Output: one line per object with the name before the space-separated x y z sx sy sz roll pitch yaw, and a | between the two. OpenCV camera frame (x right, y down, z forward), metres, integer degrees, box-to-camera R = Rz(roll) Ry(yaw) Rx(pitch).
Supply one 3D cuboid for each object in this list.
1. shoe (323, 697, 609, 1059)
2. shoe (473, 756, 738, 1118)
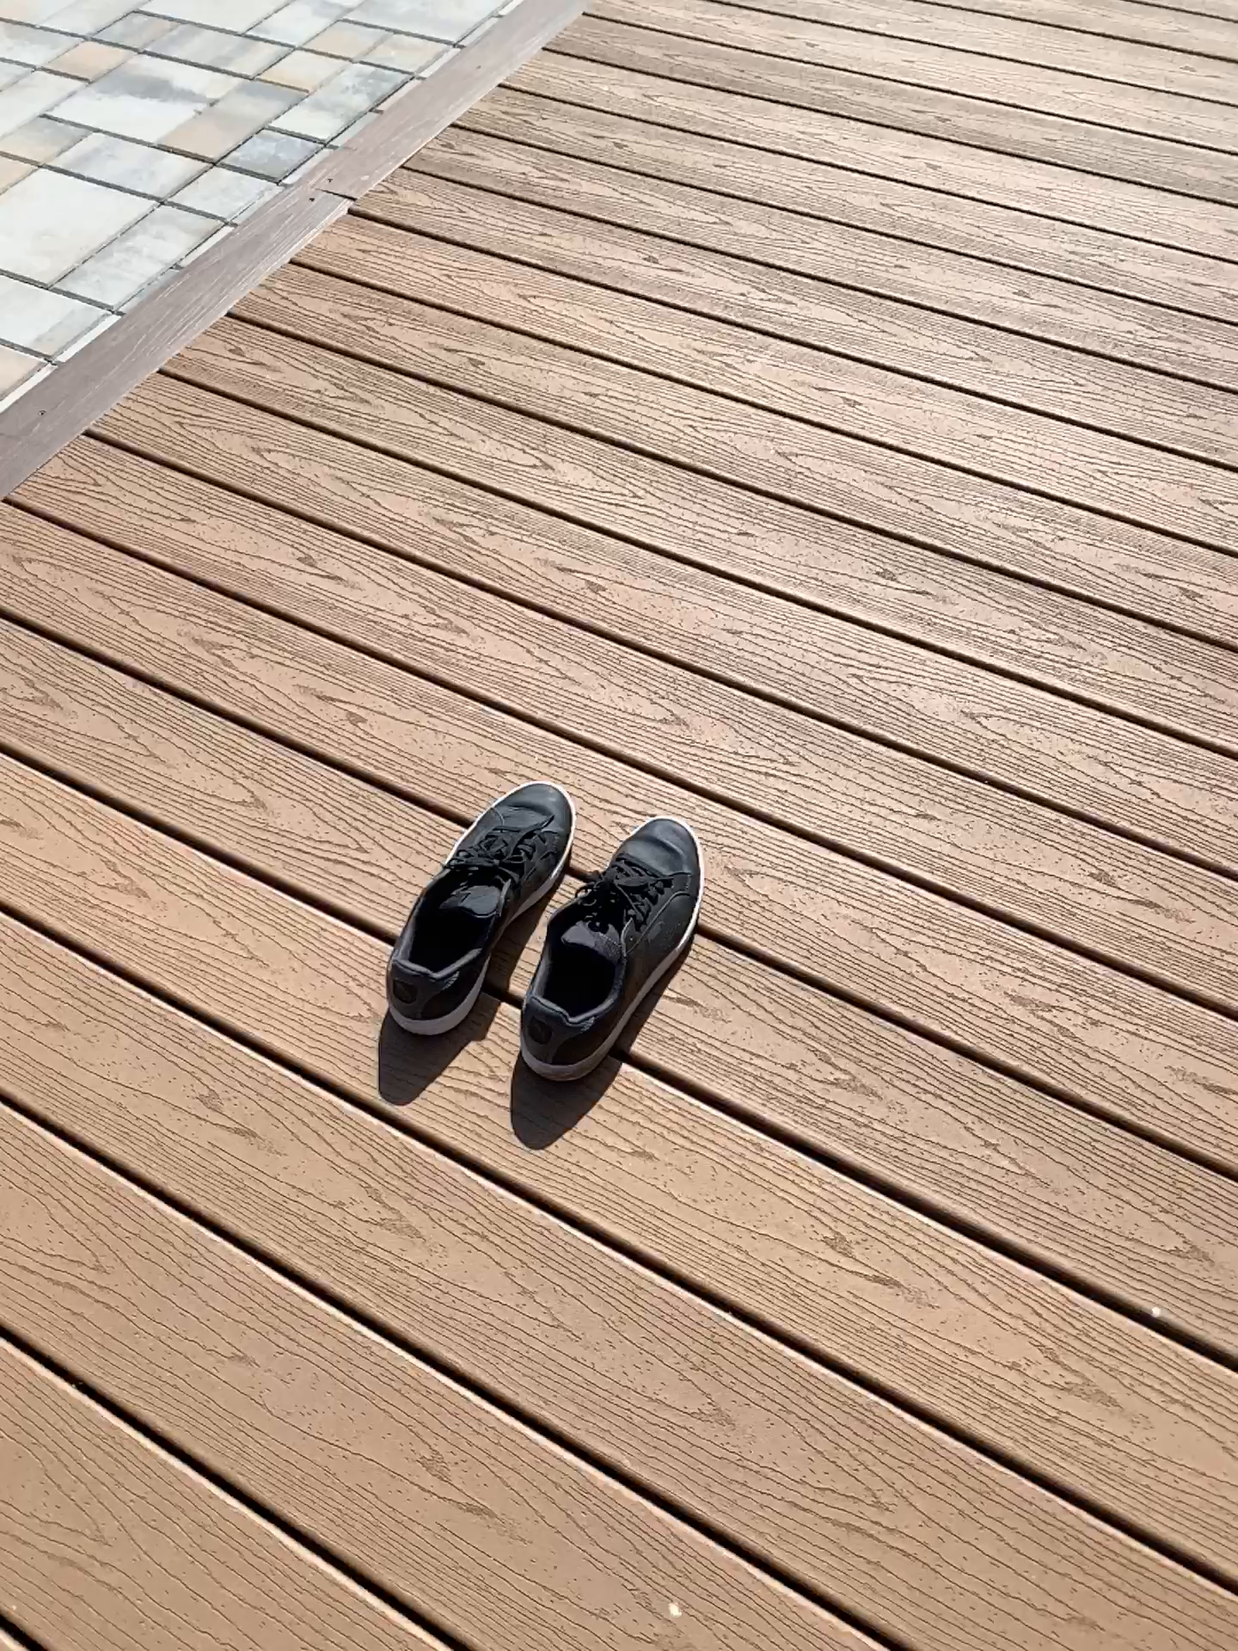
shoe | -0.127 0.041 1.141 0.112 0.107 0.300 20 58 16
shoe | -0.004 0.090 1.093 0.110 0.104 0.280 20 58 16
